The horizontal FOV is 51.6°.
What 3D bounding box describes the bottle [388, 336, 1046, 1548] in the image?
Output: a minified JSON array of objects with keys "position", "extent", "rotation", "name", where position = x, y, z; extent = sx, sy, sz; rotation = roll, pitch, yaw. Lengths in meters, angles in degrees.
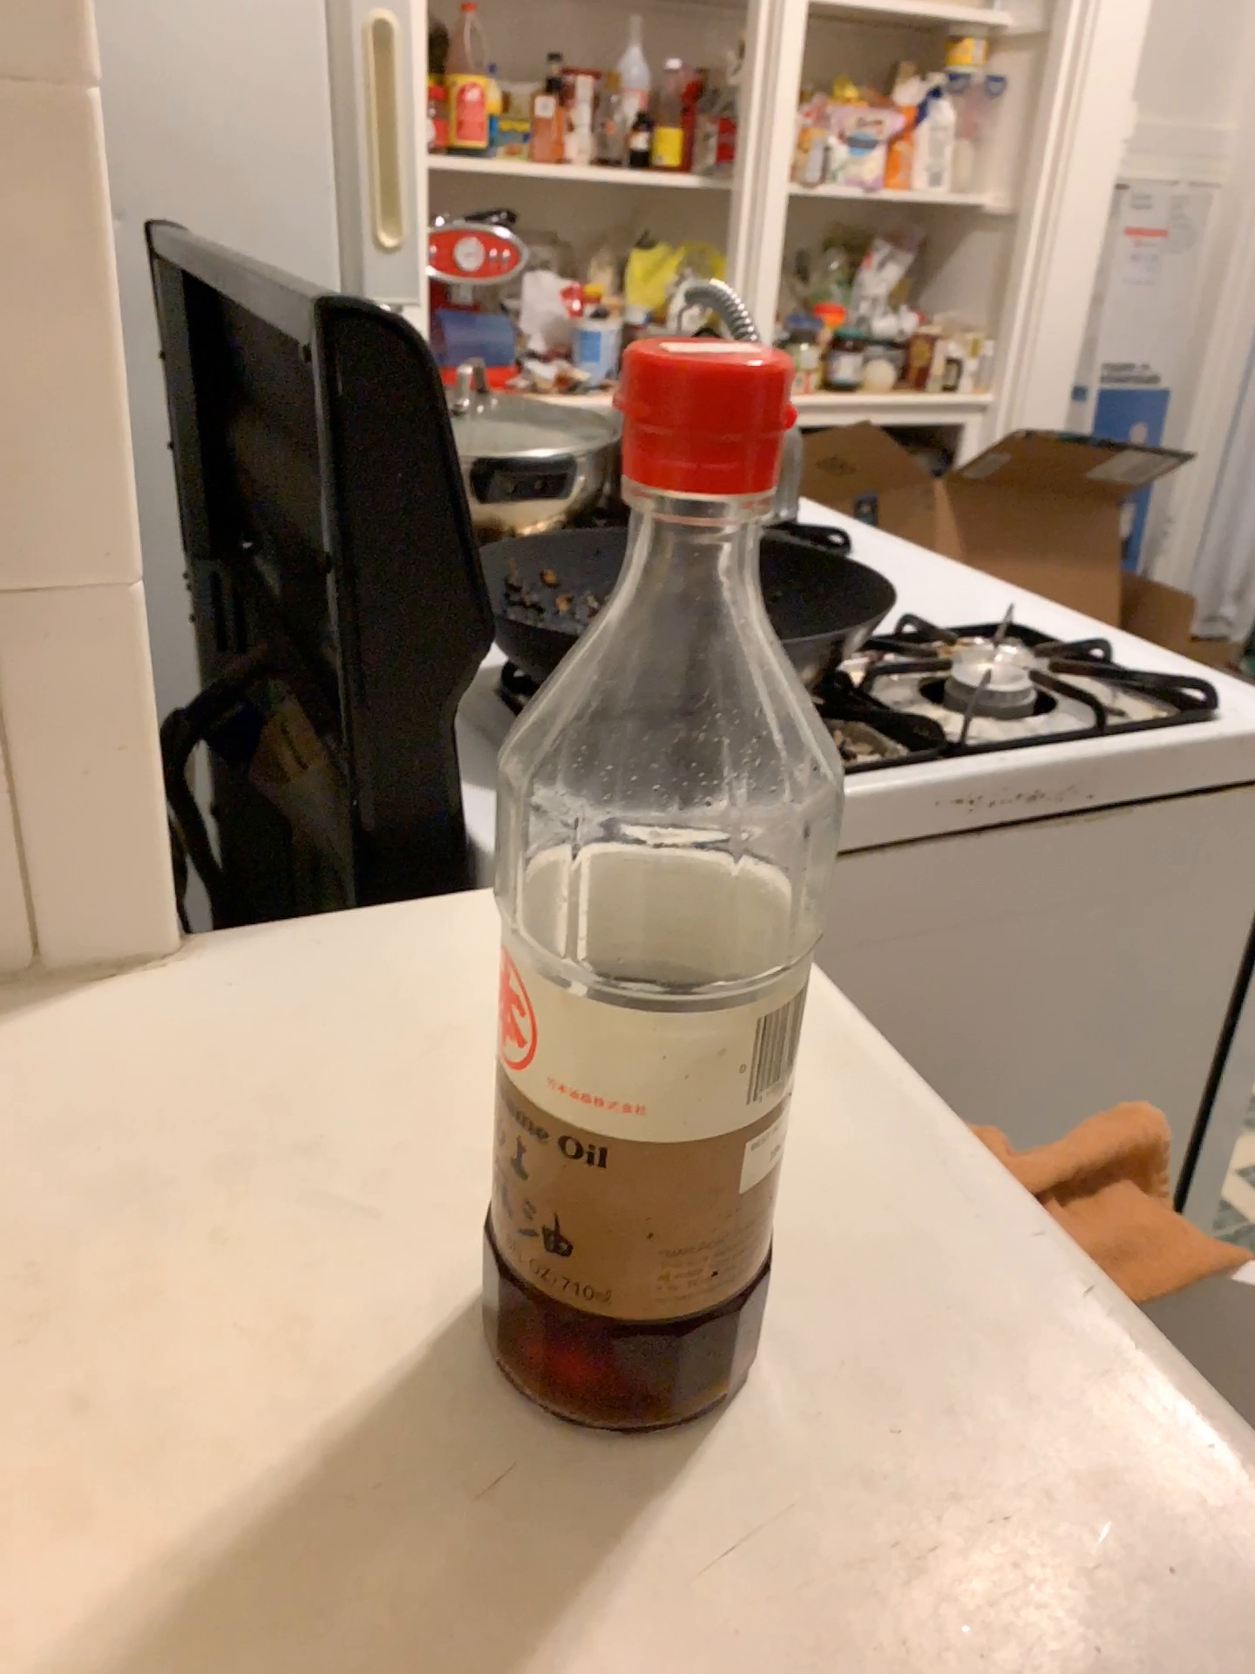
[{"position":[0.006,0.026,0.305],"extent":[0.090,0.259,0.090],"rotation":[3,27,-2],"name":"bottle"}]
